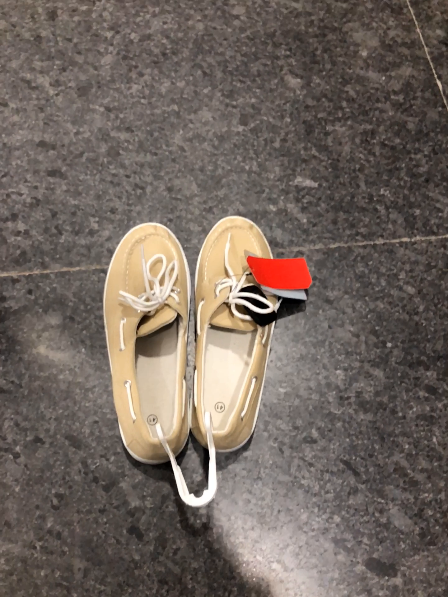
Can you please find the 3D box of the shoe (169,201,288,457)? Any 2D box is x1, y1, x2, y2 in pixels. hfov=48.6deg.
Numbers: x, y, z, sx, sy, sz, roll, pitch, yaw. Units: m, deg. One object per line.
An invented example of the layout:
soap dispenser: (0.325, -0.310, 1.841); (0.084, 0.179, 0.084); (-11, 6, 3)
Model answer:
shoe: (0.008, 0.033, 0.527); (0.096, 0.106, 0.243); (5, 67, -1)

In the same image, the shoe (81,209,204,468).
shoe: (-0.080, 0.041, 0.516); (0.103, 0.106, 0.243); (-3, 67, -4)
